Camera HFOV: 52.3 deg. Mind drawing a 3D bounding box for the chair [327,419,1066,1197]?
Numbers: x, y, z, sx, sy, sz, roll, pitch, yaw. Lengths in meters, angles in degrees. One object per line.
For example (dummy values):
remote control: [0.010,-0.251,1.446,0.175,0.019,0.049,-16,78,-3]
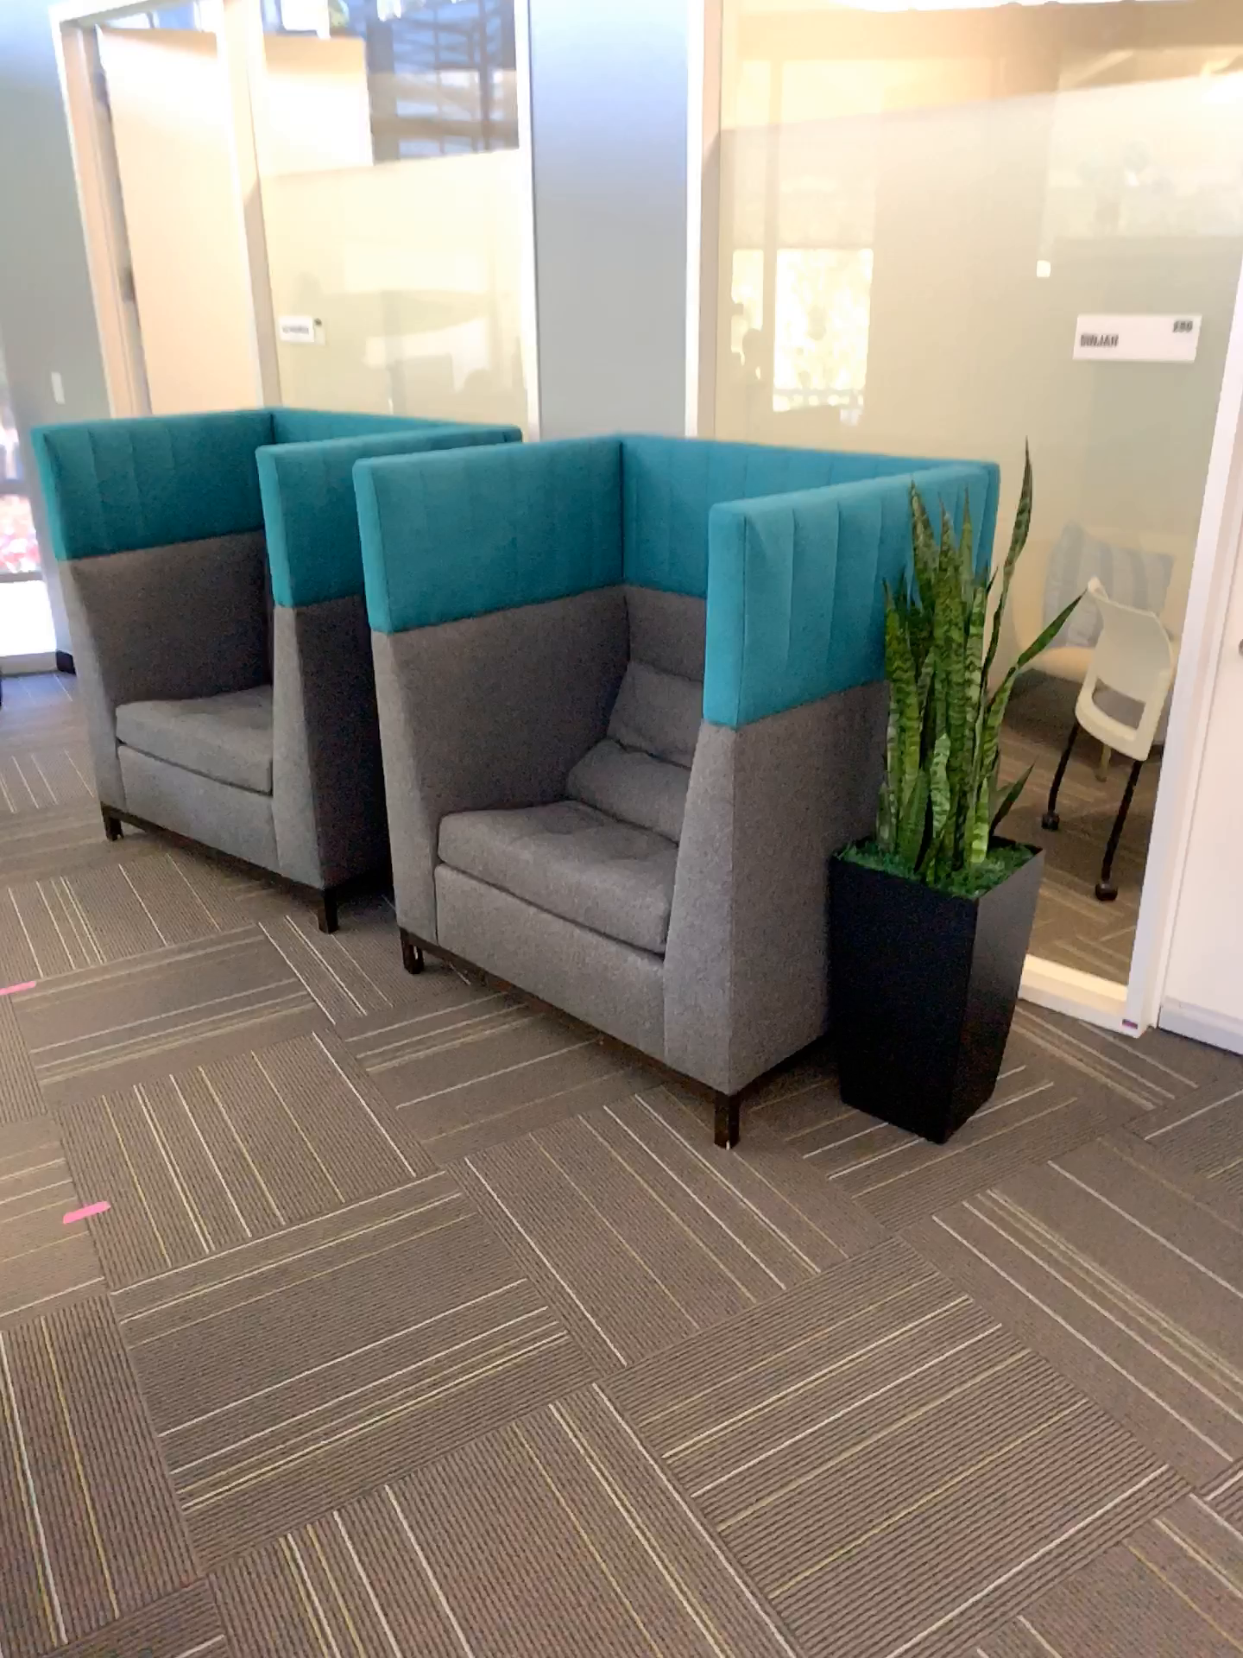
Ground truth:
chair: [0.152,-0.182,2.728,1.054,1.214,1.011,20,30,40]
